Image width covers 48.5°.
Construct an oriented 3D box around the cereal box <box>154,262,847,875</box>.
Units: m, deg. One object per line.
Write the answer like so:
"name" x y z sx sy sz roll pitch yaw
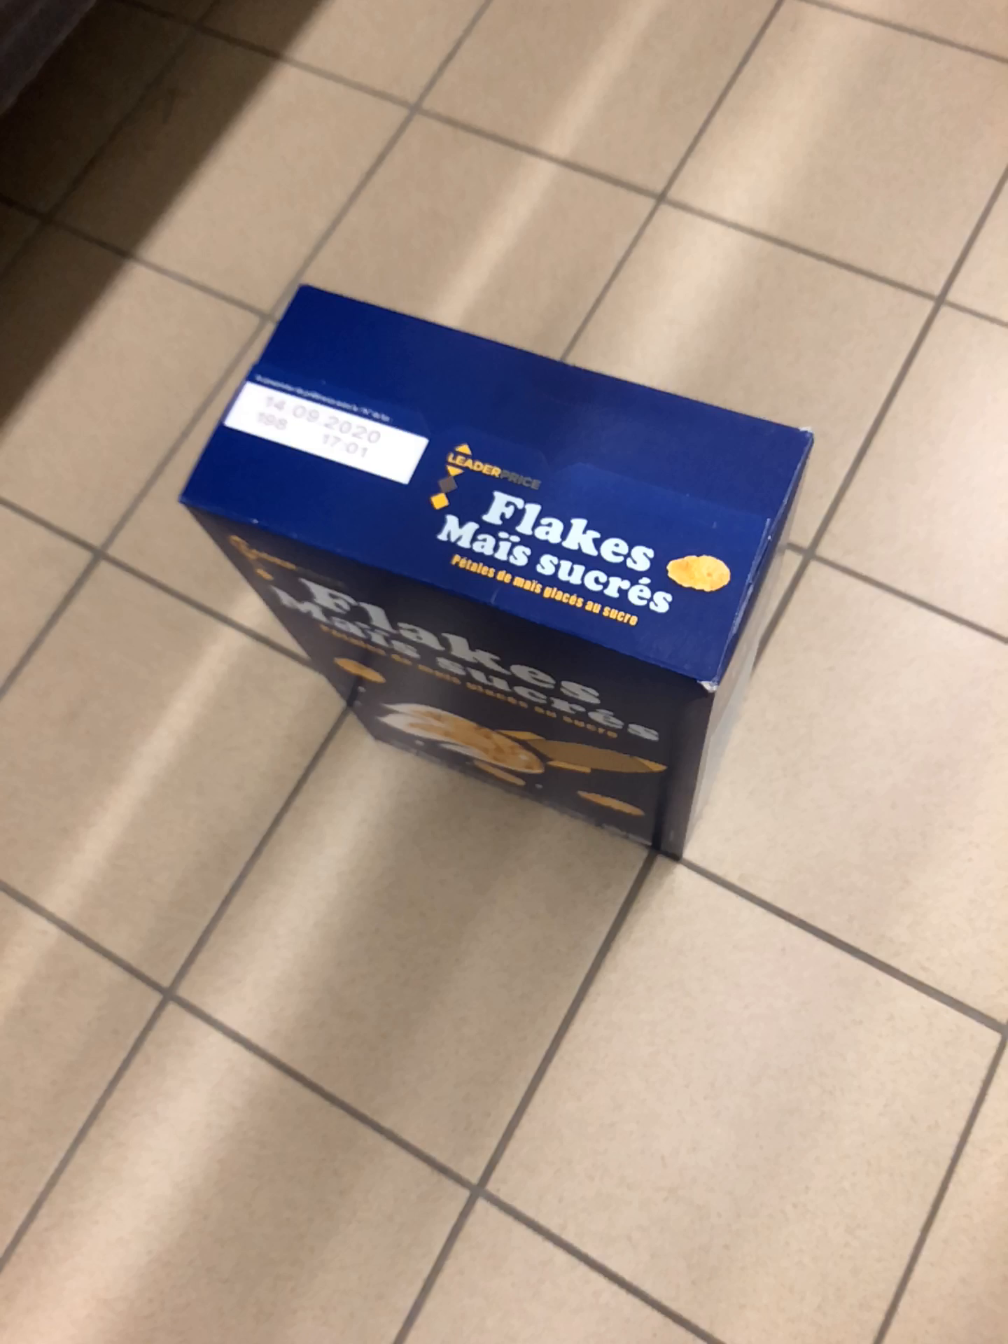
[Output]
"cereal box" 0.014 -0.019 0.517 0.210 0.309 0.100 20 74 14
